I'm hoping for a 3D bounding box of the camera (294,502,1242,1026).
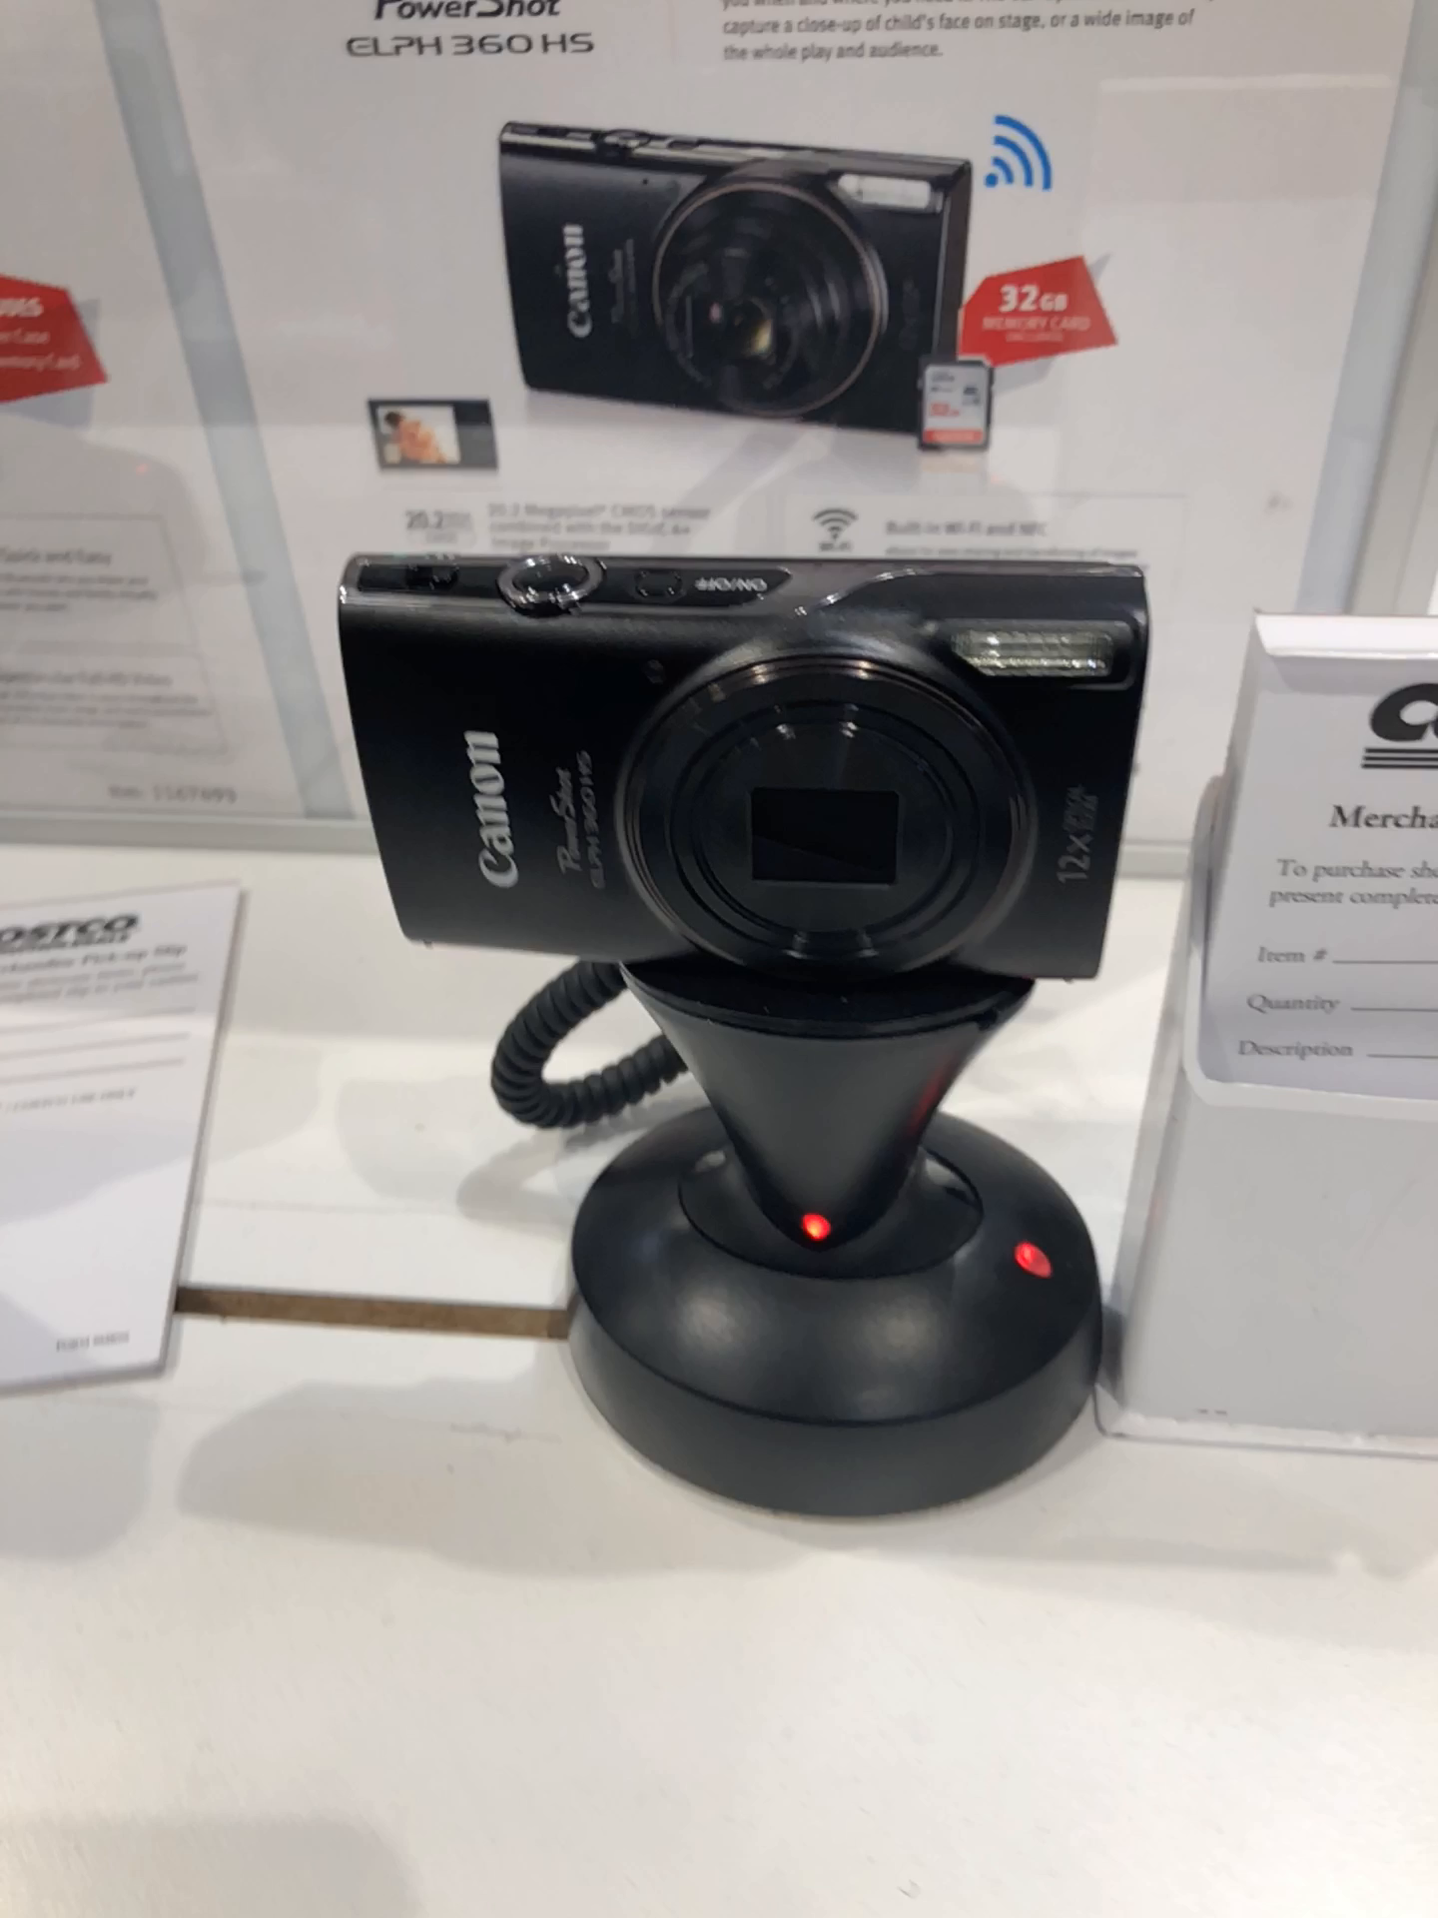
[{"bbox_3d":[0.007,-0.026,0.216,0.110,0.060,0.030,3,41,7],"label":"camera"}]
